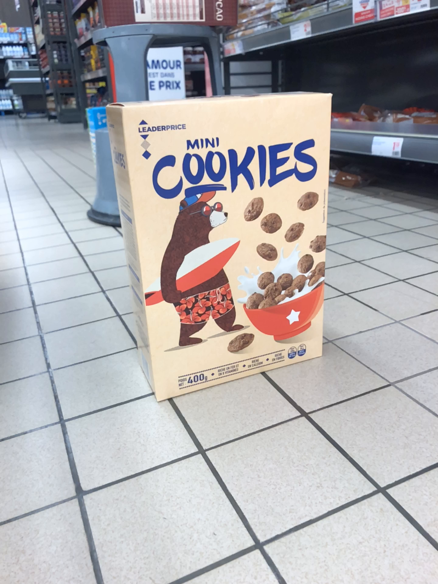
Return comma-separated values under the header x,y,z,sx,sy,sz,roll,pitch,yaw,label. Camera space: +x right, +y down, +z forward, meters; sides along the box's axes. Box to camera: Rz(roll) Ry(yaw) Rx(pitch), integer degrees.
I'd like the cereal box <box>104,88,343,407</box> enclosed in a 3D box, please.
x,y,z,sx,sy,sz,roll,pitch,yaw,label
0.010,-0.050,0.485,0.200,0.279,0.080,-11,23,-20,cereal box
